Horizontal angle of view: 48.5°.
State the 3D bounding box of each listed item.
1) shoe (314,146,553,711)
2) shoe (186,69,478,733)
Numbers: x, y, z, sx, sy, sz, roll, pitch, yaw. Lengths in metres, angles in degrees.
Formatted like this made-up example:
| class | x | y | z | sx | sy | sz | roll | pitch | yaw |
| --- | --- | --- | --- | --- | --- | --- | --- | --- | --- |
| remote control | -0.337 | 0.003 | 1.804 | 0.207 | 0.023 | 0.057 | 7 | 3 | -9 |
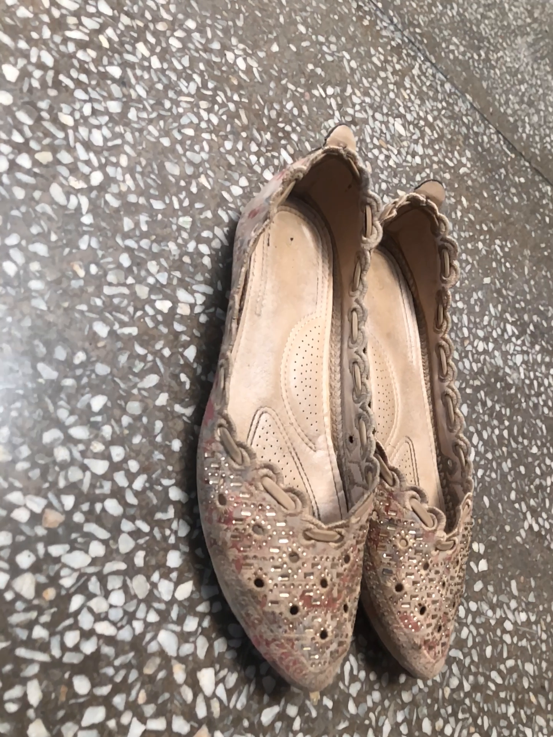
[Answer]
| class | x | y | z | sx | sy | sz | roll | pitch | yaw |
| --- | --- | --- | --- | --- | --- | --- | --- | --- | --- |
| shoe | 0.086 | 0.025 | 0.324 | 0.090 | 0.068 | 0.254 | 10 | 68 | -38 |
| shoe | 0.020 | 0.007 | 0.277 | 0.090 | 0.068 | 0.254 | 14 | 65 | -37 |
